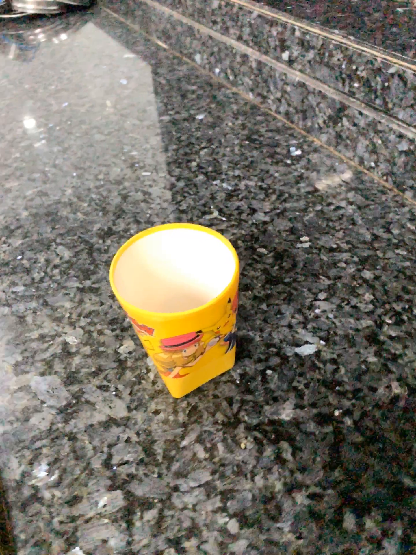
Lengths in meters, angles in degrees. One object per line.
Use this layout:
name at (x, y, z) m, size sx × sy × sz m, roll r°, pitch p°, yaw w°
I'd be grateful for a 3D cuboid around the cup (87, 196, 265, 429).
cup at (-0.020, 0.024, 0.304) m, size 0.070 × 0.109 × 0.101 m, roll -27°, pitch 49°, yaw -20°
